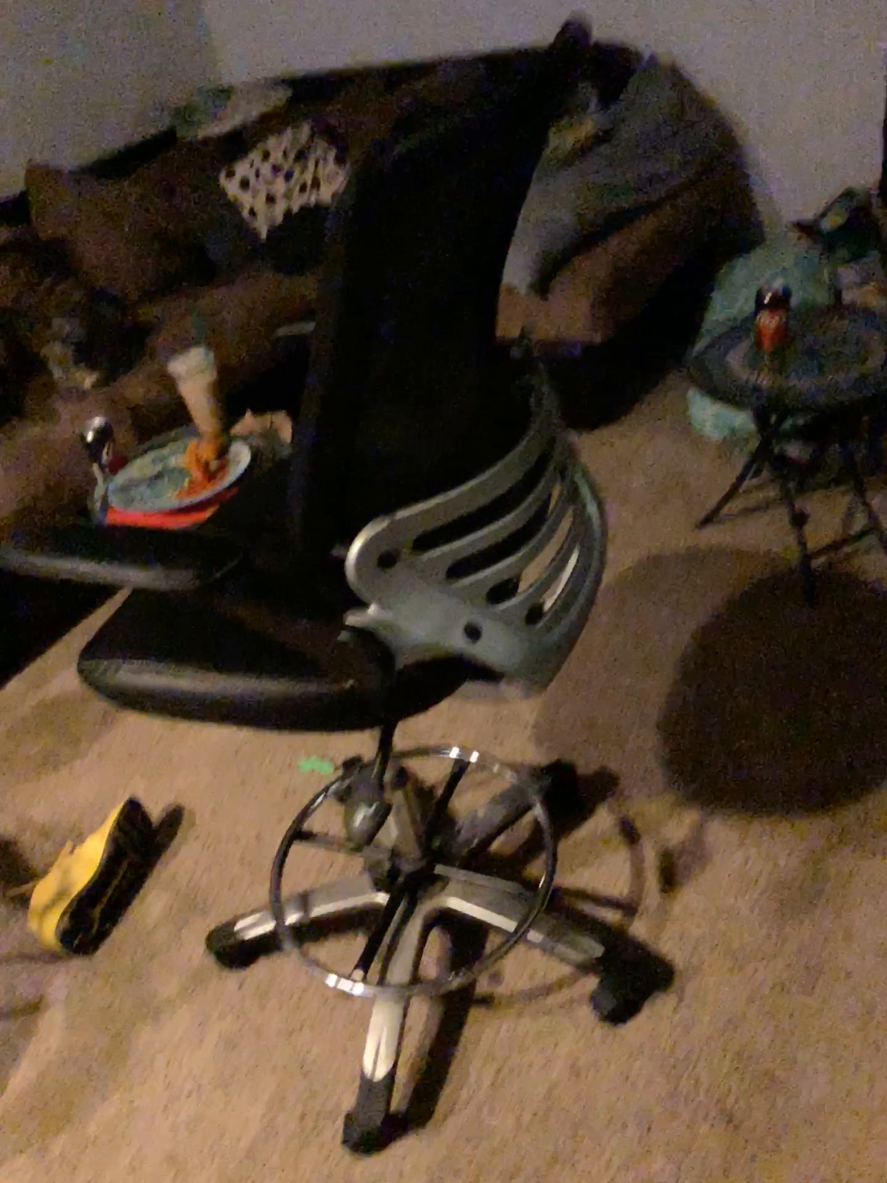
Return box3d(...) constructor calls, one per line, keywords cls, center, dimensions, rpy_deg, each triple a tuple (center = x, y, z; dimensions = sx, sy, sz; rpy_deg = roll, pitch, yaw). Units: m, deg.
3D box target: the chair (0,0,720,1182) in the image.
box3d(cls="chair", center=(-0.109, 0.026, 1.152), dimensions=(0.700, 1.120, 0.780), rpy_deg=(6, 40, 24))
